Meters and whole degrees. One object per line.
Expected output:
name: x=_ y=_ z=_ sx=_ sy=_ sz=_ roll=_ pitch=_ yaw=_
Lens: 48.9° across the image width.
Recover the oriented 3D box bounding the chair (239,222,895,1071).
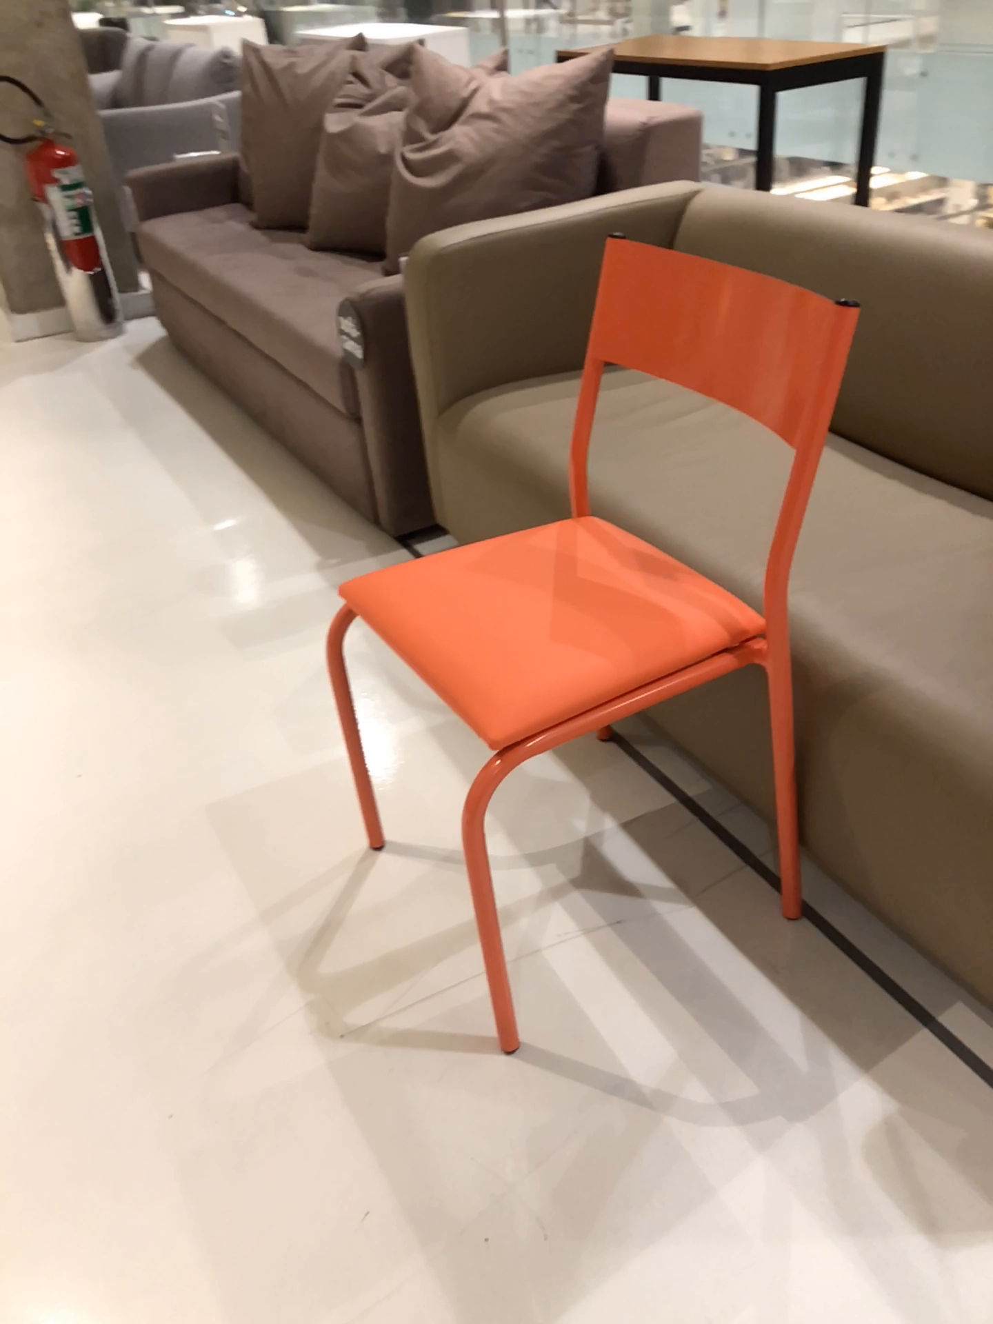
chair: x=0.074 y=-0.045 z=1.336 sx=0.491 sy=0.784 sz=0.503 roll=-19 pitch=35 yaw=-20
